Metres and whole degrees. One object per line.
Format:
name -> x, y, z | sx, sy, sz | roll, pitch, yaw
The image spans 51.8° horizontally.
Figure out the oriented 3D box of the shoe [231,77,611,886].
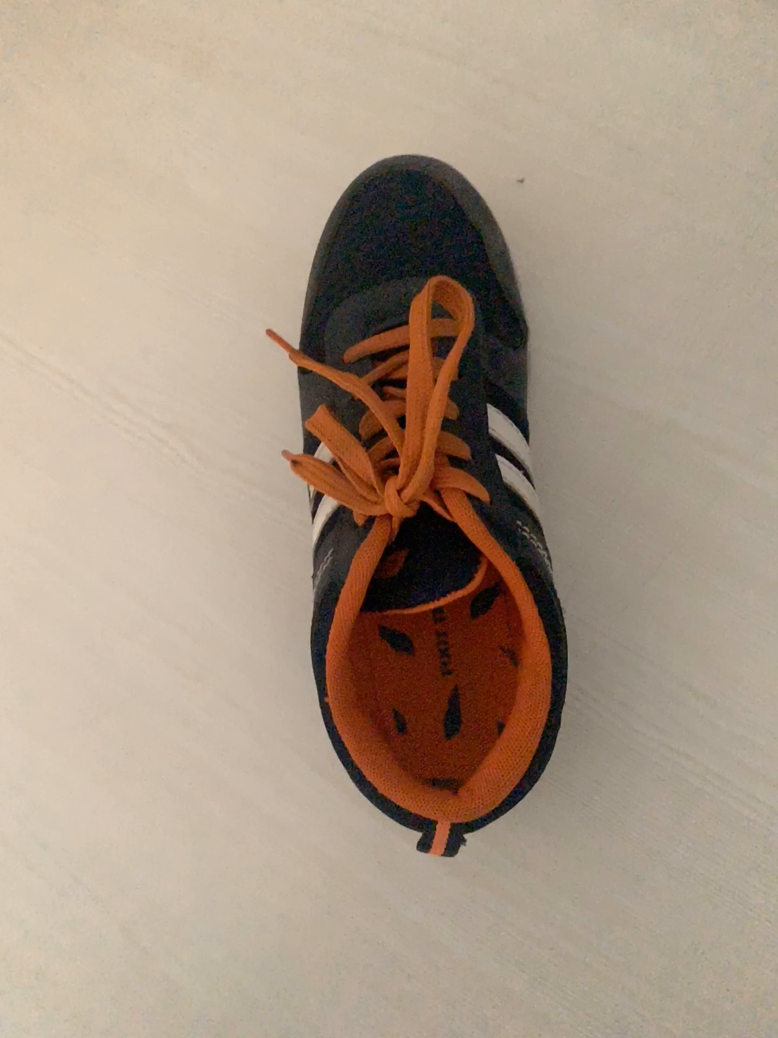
shoe -> 0.011, -0.012, 0.292 | 0.100, 0.080, 0.250 | -6, 80, 10
